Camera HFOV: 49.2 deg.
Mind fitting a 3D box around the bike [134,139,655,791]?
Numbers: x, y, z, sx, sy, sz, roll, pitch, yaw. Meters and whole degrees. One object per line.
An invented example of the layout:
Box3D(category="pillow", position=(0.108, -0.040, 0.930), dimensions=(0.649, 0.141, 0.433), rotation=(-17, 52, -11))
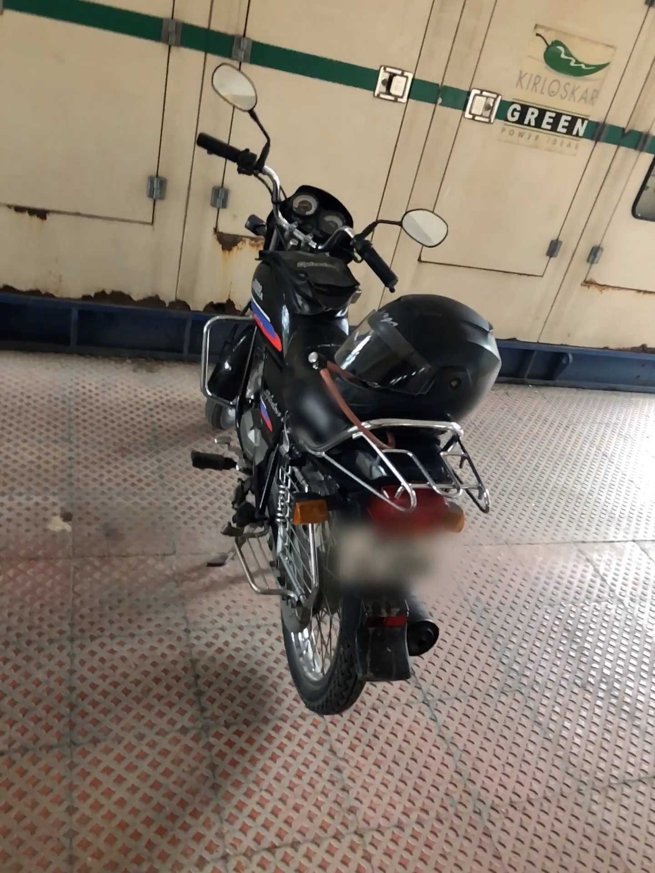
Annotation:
Box3D(category="bike", position=(-0.069, -0.126, 2.141), dimensions=(0.735, 1.087, 1.868), rotation=(7, 29, -14))
